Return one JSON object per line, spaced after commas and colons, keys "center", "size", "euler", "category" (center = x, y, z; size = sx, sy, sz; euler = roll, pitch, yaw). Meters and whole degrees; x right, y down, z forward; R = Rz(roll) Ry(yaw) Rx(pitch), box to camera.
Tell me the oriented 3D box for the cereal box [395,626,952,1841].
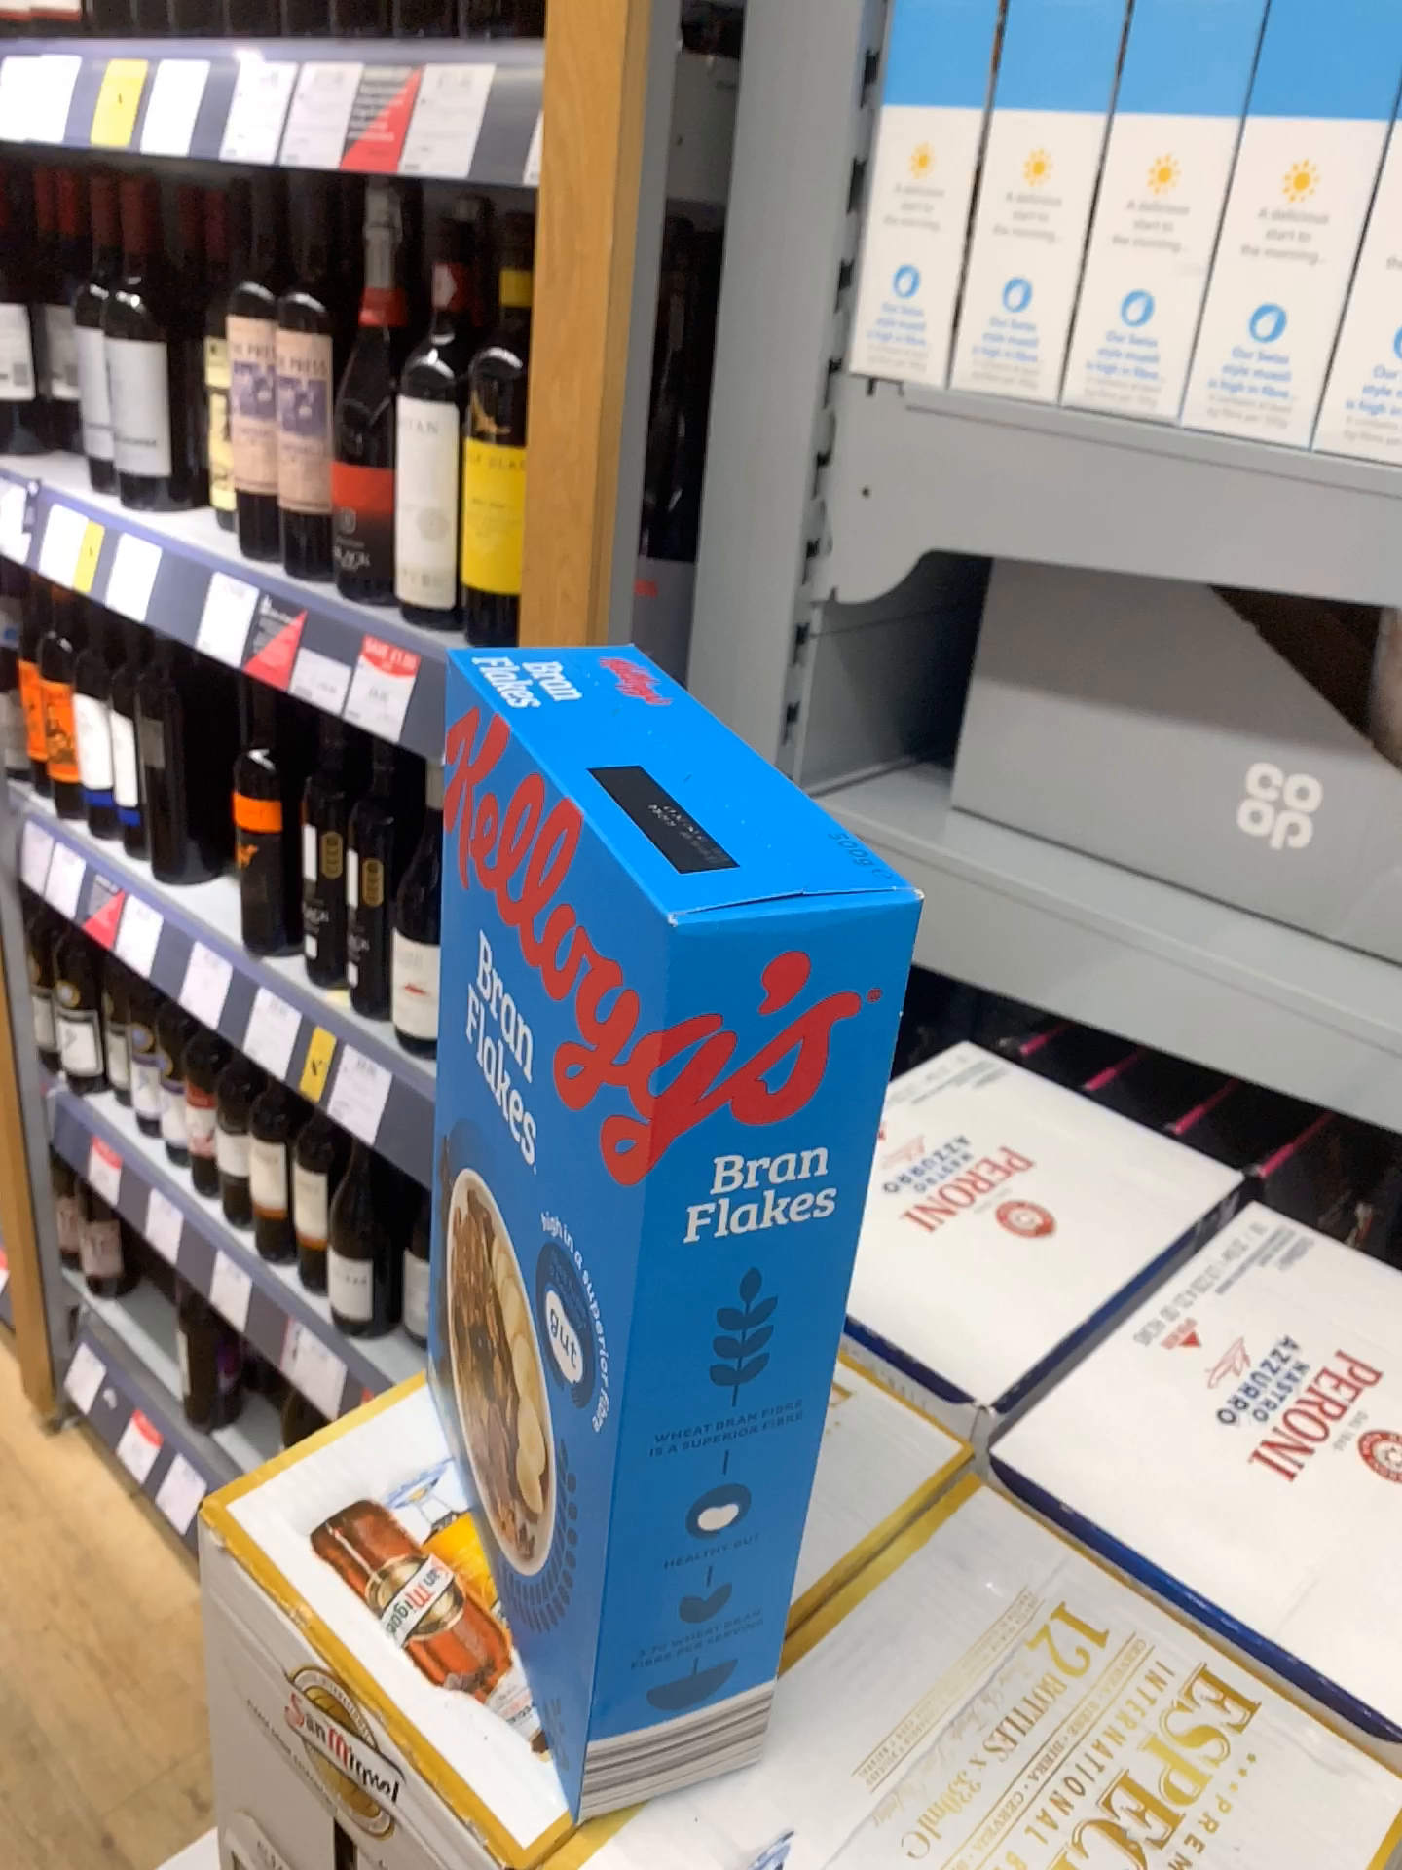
{"center": [-0.033, 0.077, 0.437], "size": [0.070, 0.287, 0.202], "euler": [-5, 29, -23], "category": "cereal box"}
